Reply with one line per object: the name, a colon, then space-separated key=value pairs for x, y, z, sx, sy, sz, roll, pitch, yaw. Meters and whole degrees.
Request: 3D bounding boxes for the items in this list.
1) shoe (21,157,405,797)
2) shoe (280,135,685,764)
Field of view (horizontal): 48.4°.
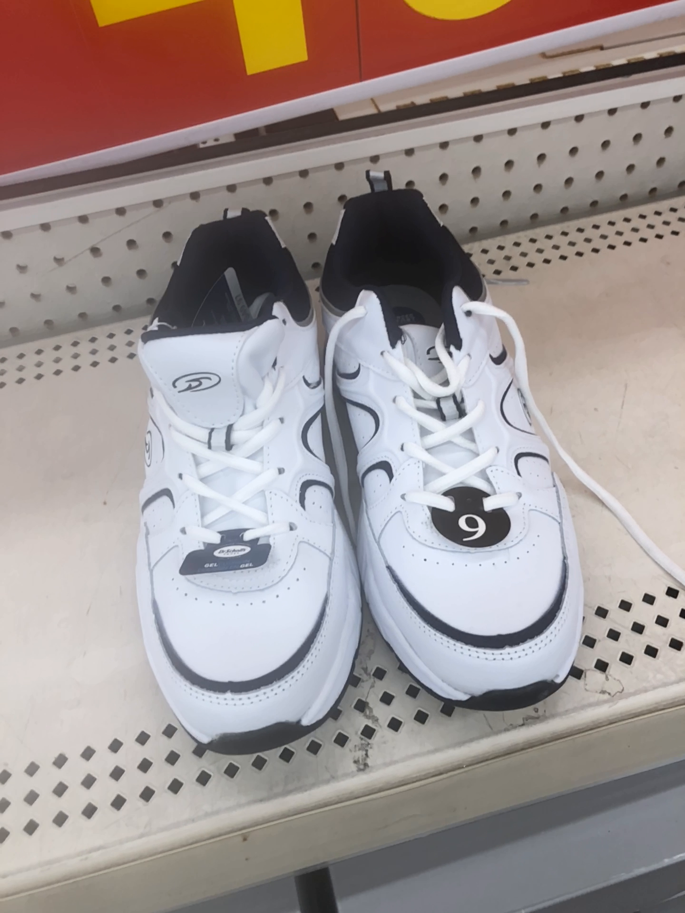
shoe: x=-0.047 y=-0.006 z=0.347 sx=0.110 sy=0.120 sz=0.261 roll=-7 pitch=51 yaw=-1
shoe: x=0.049 y=-0.019 z=0.353 sx=0.110 sy=0.120 sz=0.261 roll=-10 pitch=51 yaw=-3
